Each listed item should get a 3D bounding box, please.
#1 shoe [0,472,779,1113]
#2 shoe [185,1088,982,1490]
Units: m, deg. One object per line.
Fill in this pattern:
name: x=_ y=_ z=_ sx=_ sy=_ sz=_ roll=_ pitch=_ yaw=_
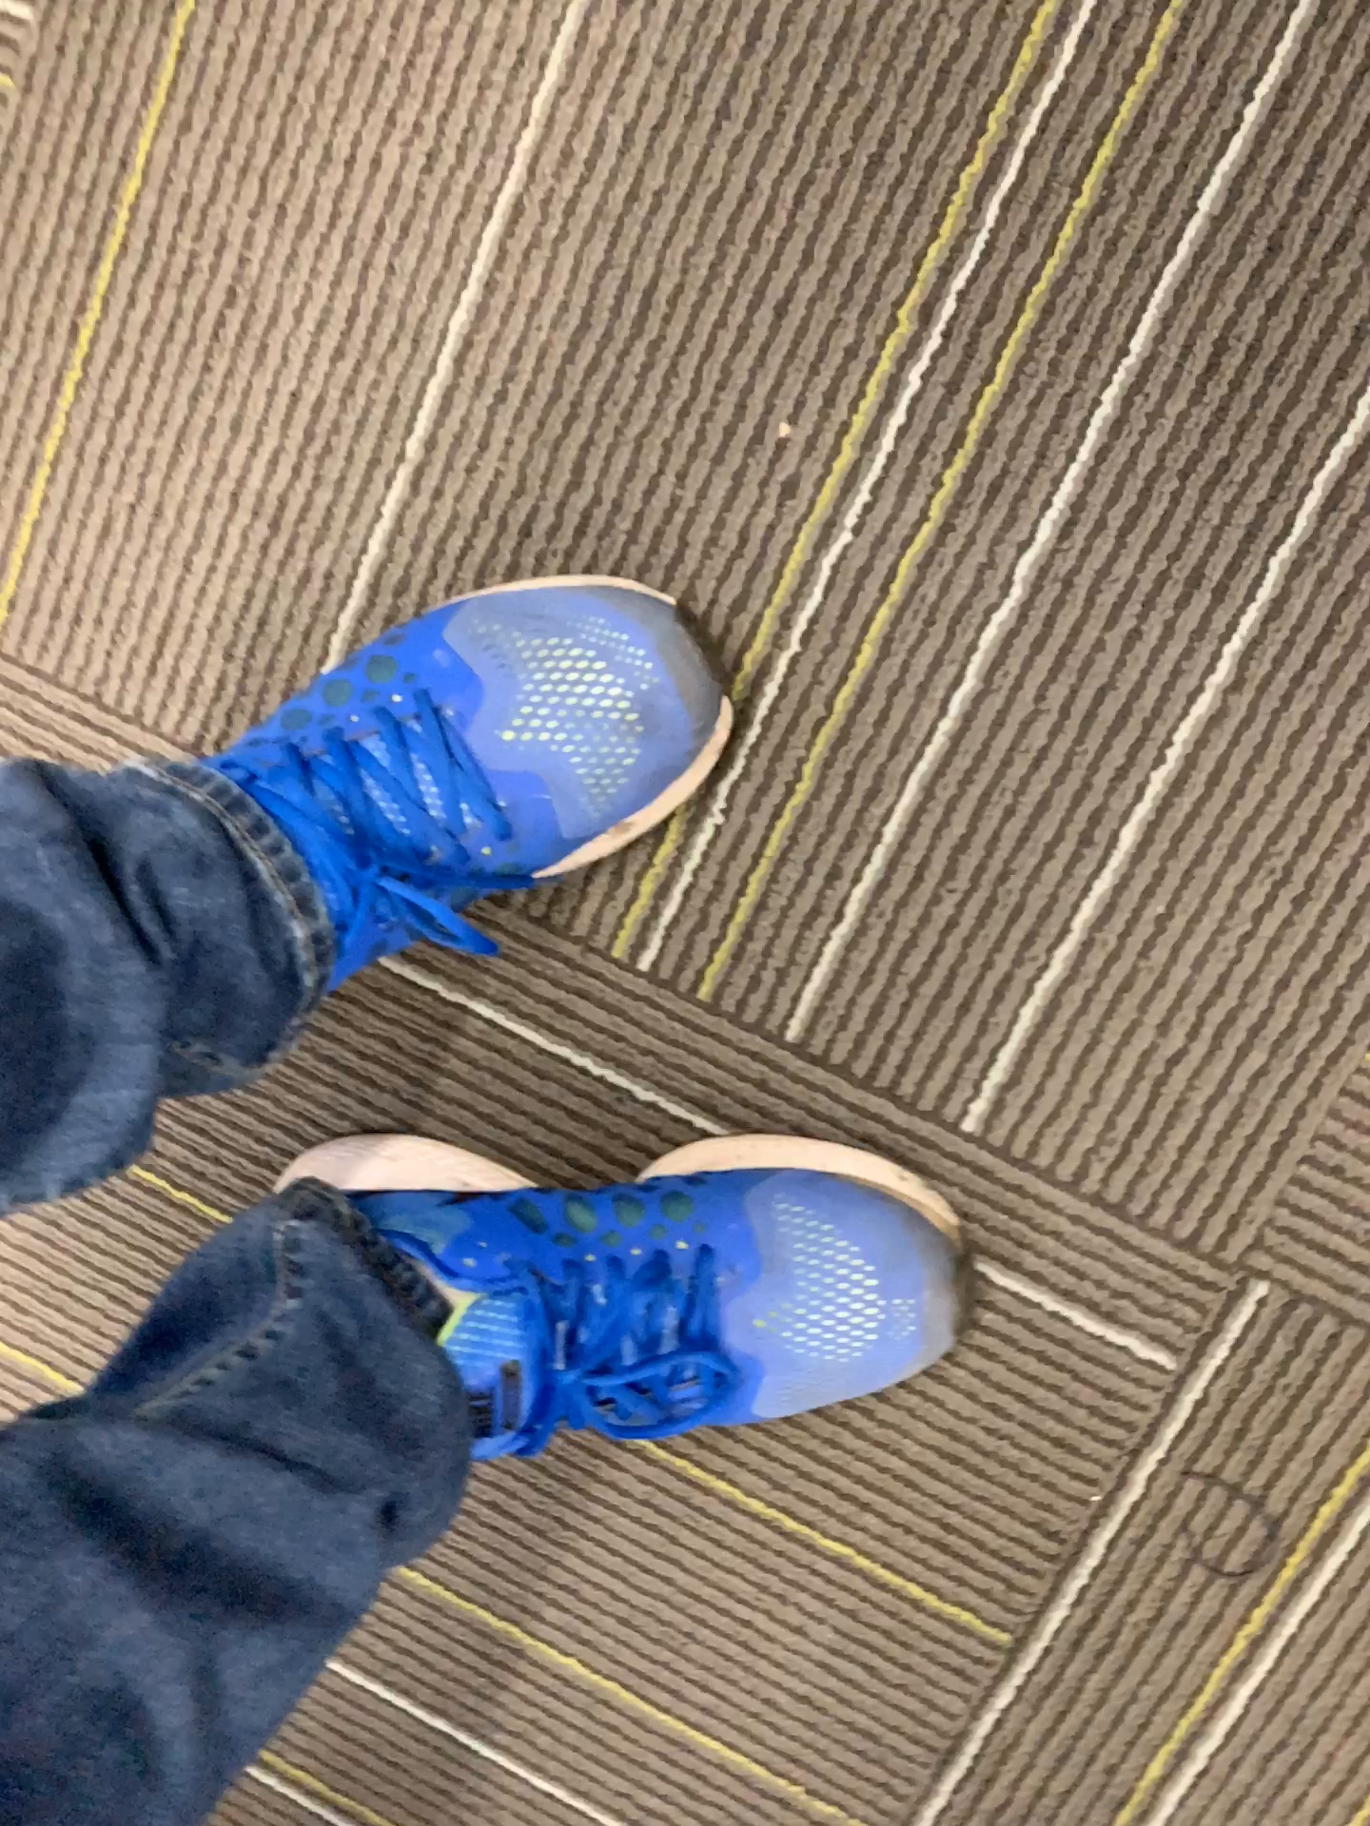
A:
shoe: x=-0.128 y=-0.042 z=0.557 sx=0.298 sy=0.077 sz=0.125 roll=-24 pitch=94 yaw=15
shoe: x=-0.038 y=0.154 z=0.568 sx=0.300 sy=0.077 sz=0.129 roll=-5 pitch=99 yaw=13
